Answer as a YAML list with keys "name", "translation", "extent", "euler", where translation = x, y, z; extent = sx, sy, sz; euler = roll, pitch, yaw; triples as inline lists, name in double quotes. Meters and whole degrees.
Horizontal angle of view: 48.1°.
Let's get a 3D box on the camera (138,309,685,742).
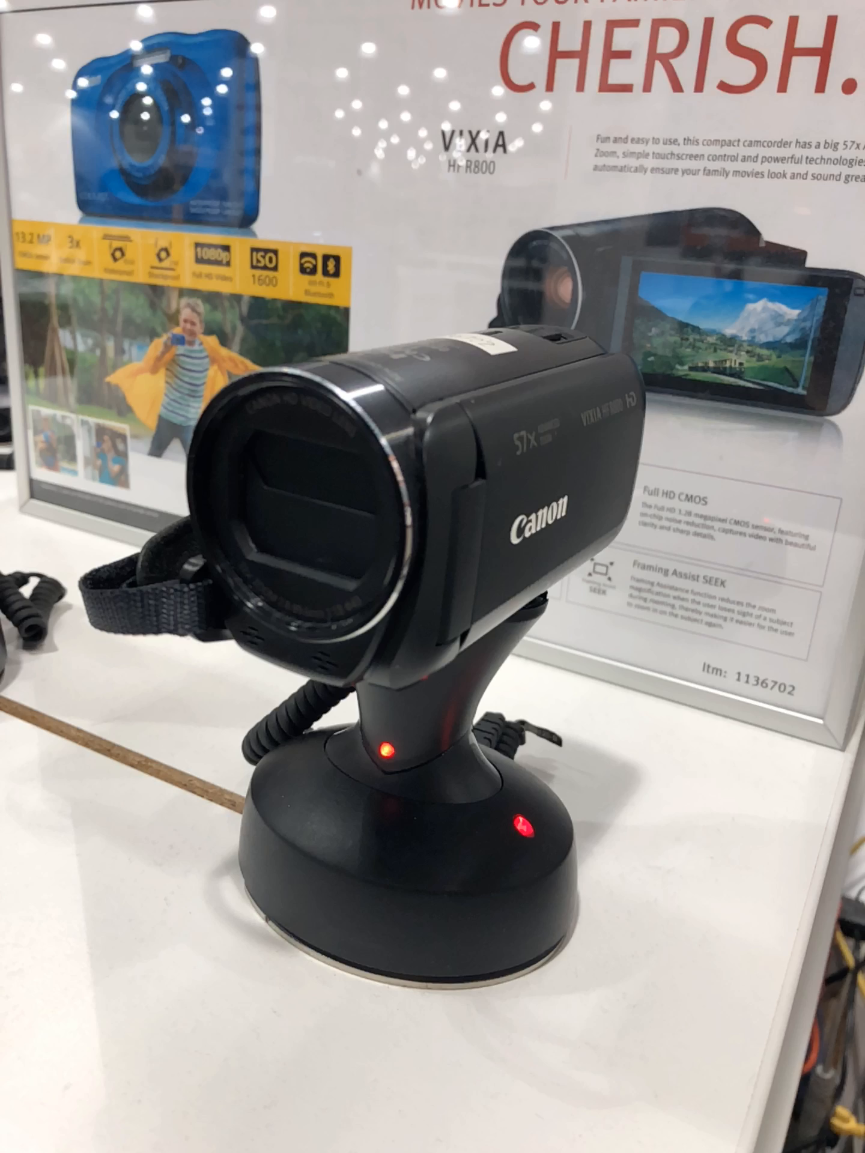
- name: "camera"
  translation: [0.005, -0.024, 0.221]
  extent: [0.060, 0.060, 0.130]
  euler: [15, 23, 27]
